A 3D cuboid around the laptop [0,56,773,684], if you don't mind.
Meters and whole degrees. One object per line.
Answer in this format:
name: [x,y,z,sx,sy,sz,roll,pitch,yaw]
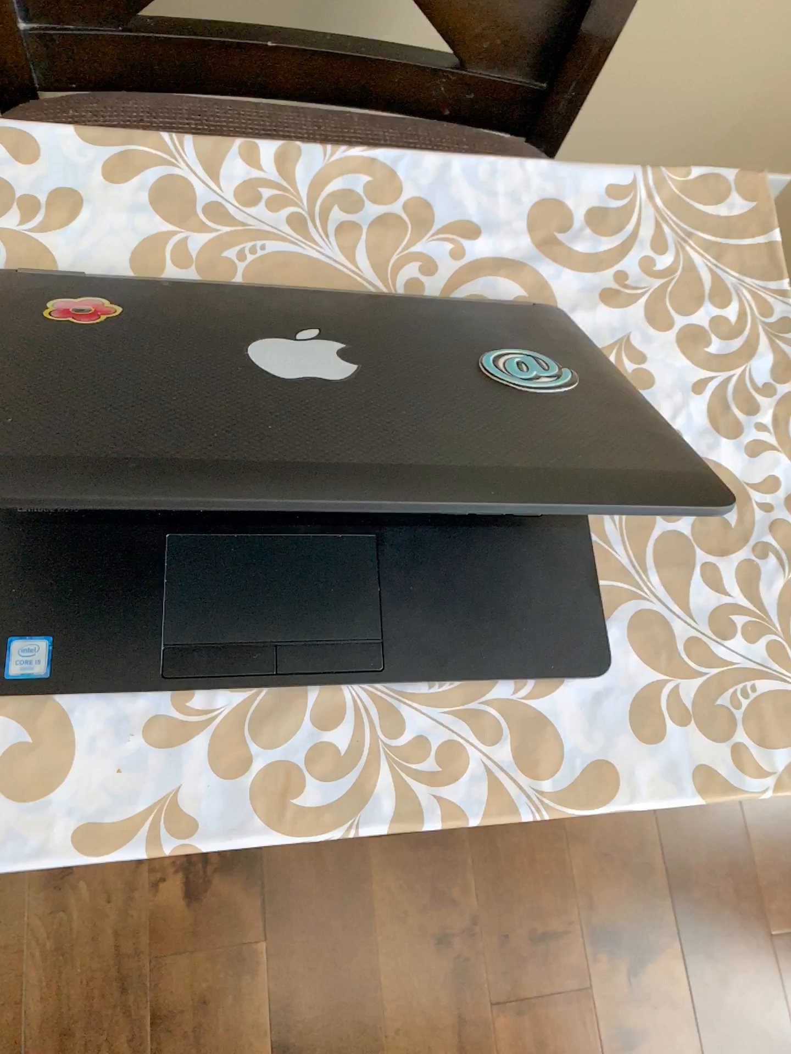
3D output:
laptop: [-0.037,-0.048,0.339,0.300,0.127,0.199,1,69,-12]
